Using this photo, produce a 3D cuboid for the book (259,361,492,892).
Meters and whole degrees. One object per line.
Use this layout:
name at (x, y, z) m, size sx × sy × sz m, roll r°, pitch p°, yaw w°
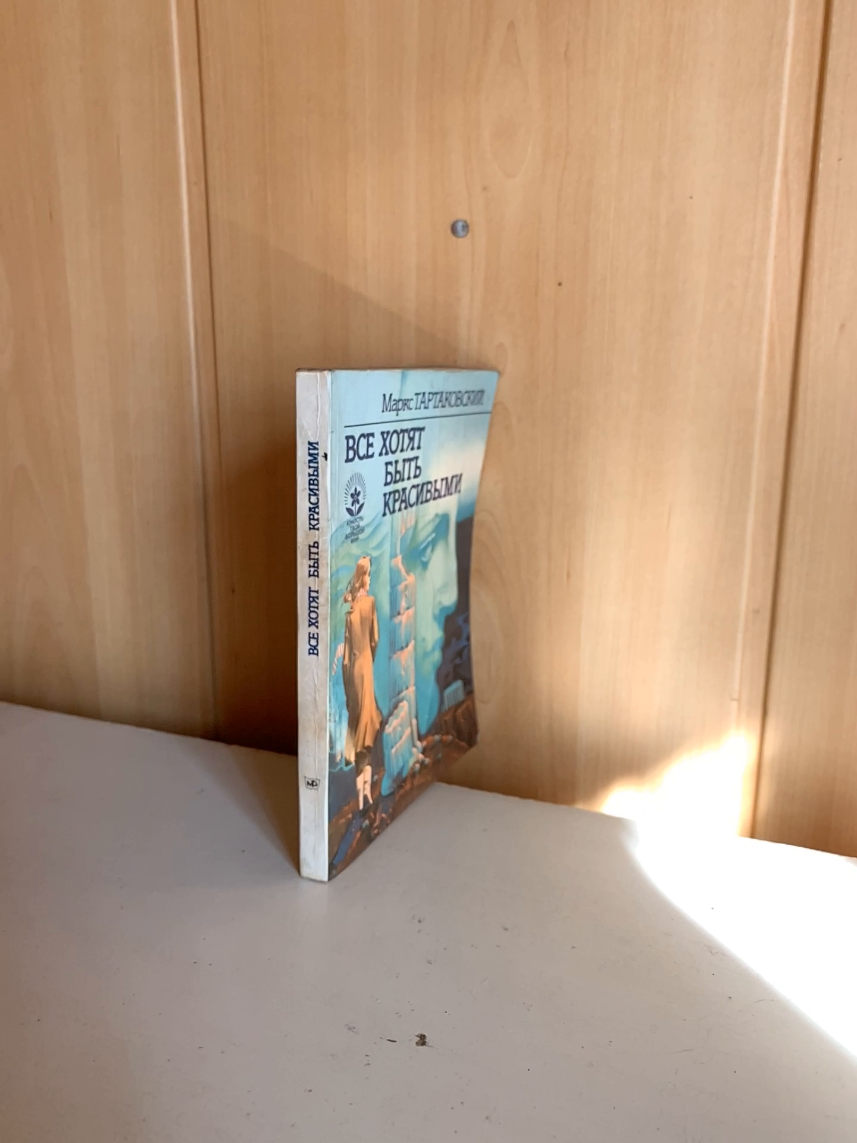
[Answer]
book at (-0.013, 0.007, 0.321) m, size 0.029 × 0.159 × 0.125 m, roll 6°, pitch 14°, yaw 21°
